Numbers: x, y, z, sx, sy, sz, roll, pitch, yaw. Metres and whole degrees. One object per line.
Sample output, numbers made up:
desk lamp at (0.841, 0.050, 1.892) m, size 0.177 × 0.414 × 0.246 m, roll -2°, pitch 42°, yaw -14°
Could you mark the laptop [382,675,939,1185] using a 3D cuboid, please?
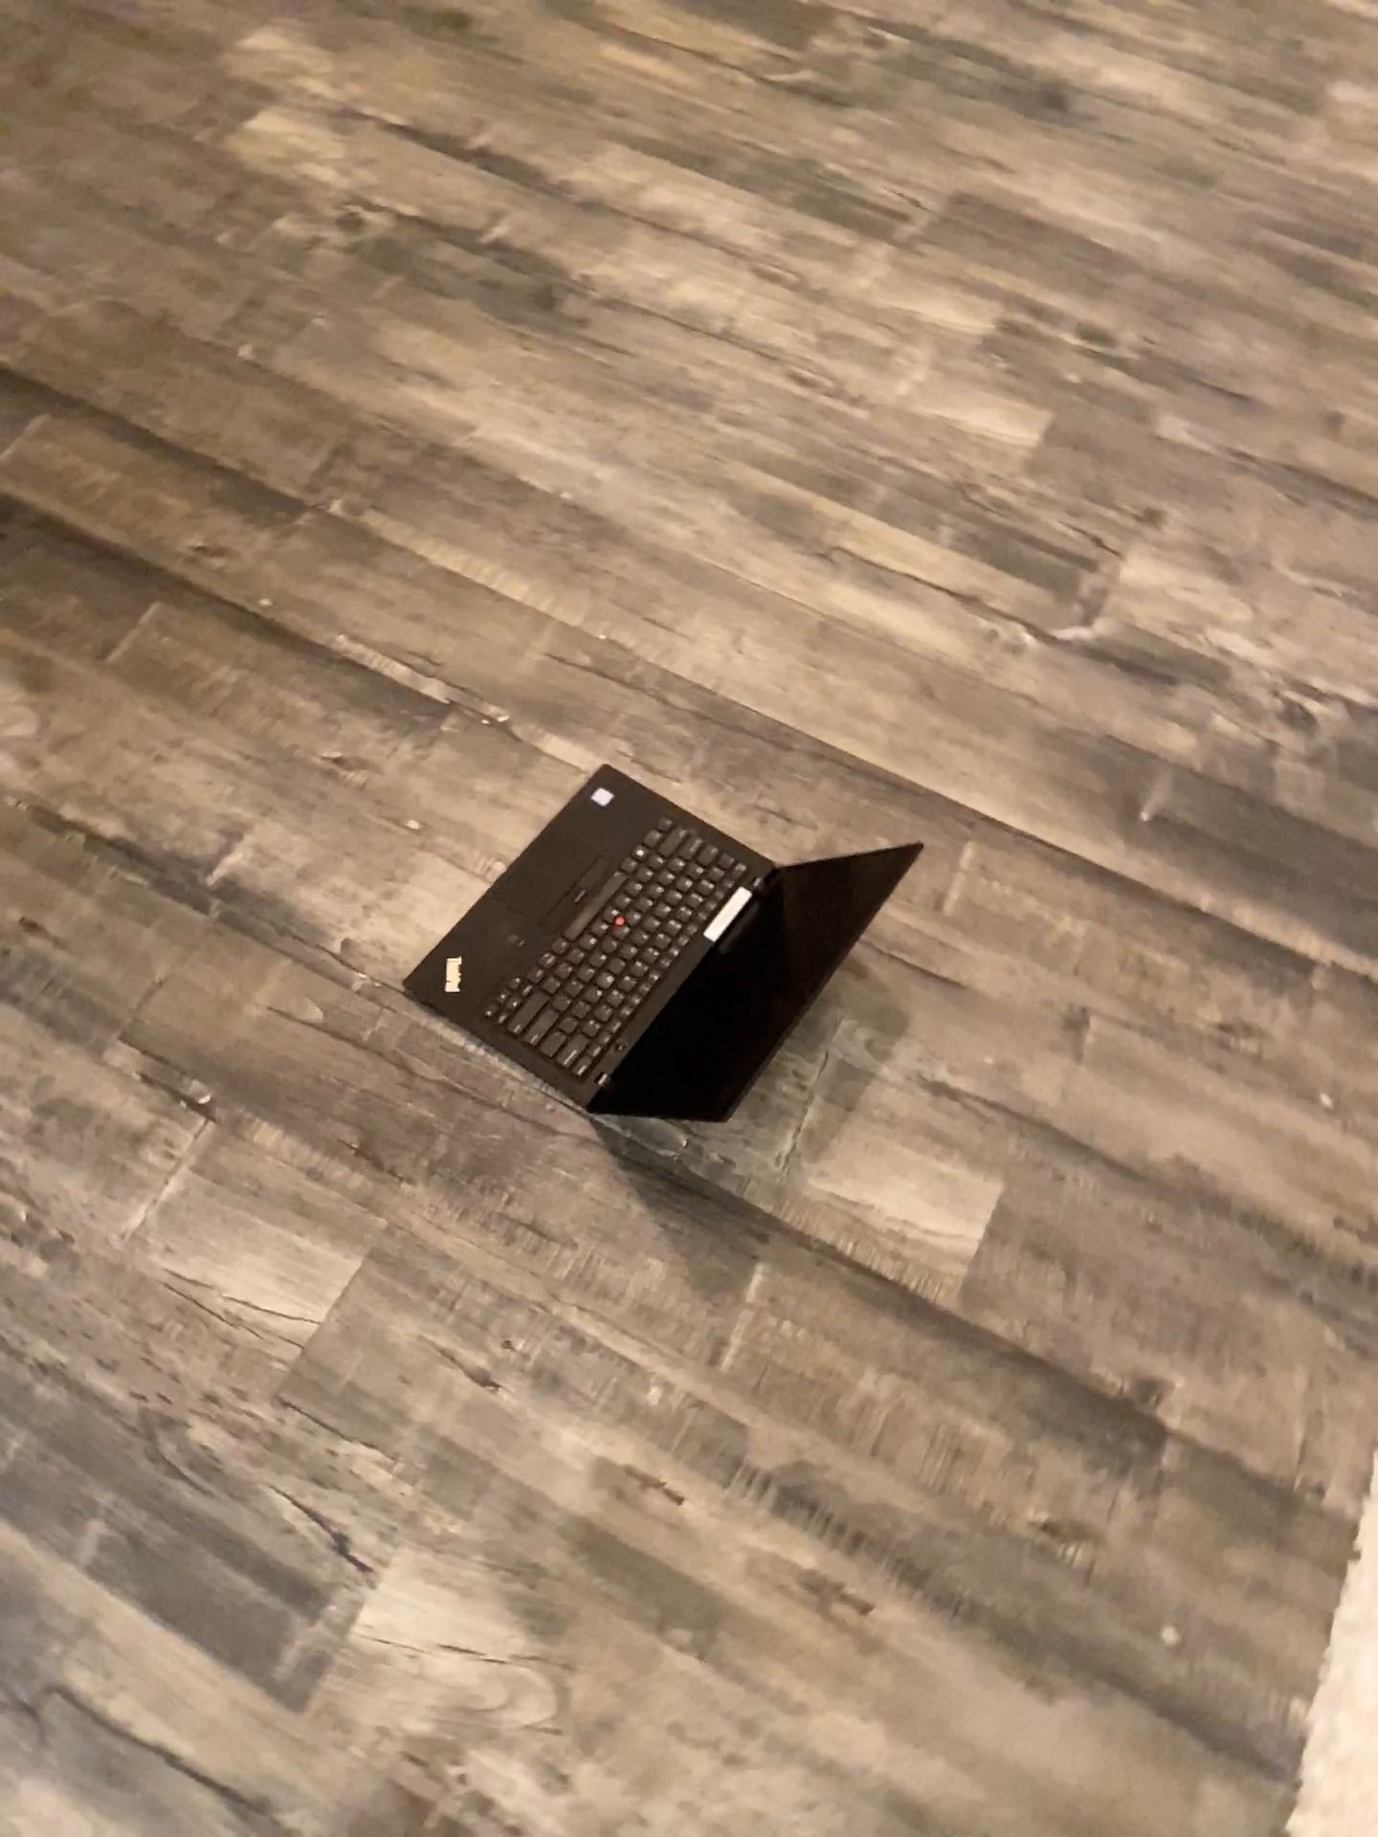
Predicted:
laptop at (-0.025, -0.001, 1.268) m, size 0.356 × 0.149 × 0.320 m, roll 29°, pitch 61°, yaw 17°
